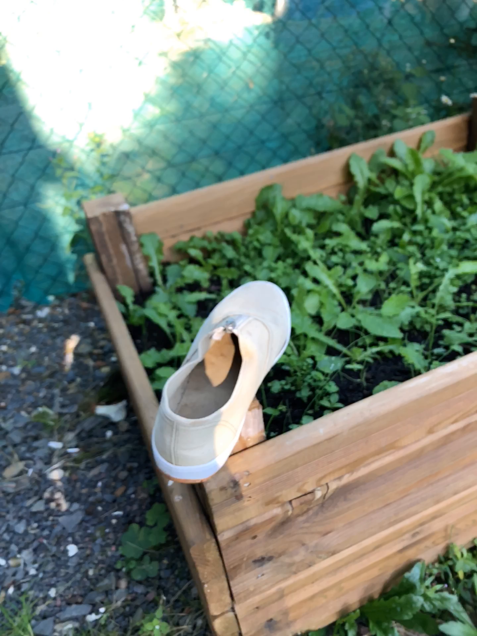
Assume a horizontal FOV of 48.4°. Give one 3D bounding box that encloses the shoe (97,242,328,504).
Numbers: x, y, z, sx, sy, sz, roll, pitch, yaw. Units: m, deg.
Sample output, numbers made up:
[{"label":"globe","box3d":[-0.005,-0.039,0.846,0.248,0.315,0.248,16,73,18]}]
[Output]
[{"label":"shoe","box3d":[-0.004,0.029,0.499,0.110,0.070,0.262,9,40,22]}]
